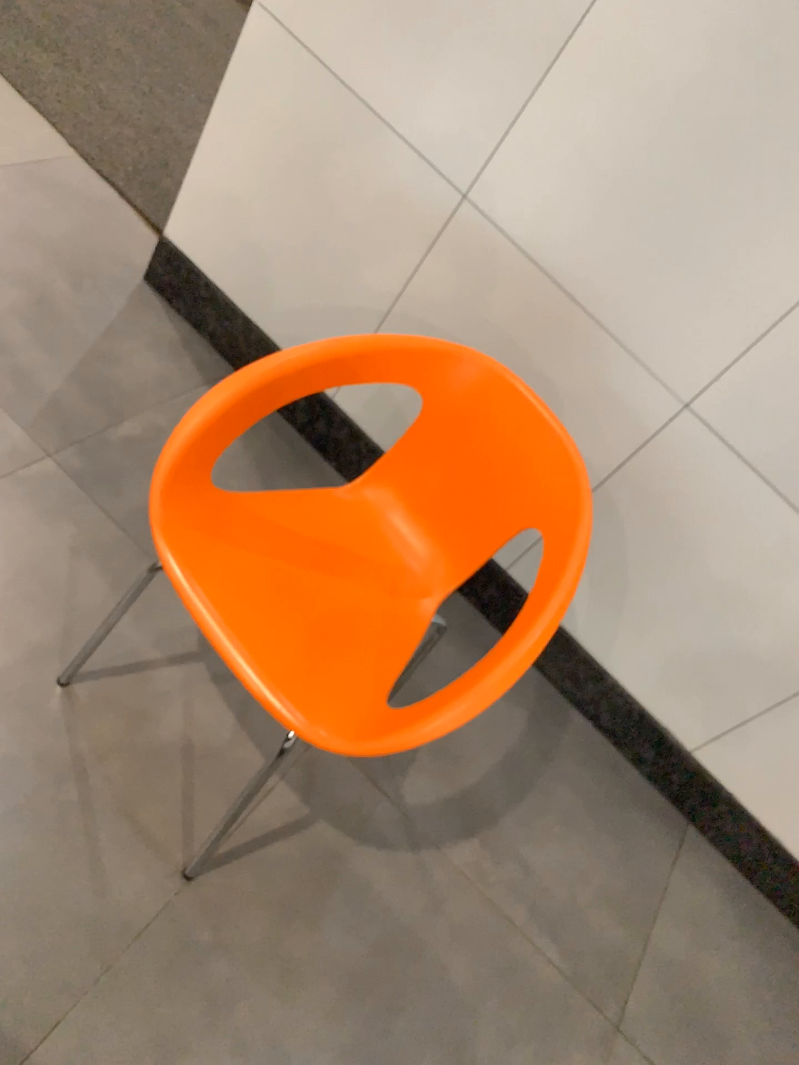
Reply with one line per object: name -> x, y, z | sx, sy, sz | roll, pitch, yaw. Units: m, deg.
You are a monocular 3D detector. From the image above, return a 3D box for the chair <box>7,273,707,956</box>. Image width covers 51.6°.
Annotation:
chair -> -0.089, 0.097, 1.328 | 0.661, 0.665, 0.644 | 51, 42, 11
